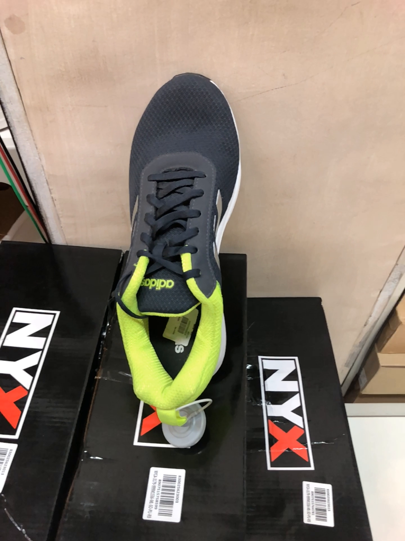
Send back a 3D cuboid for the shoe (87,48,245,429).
[{"bbox_3d":[-0.021,-0.025,0.370,0.104,0.098,0.272,1,84,6],"label":"shoe"}]
